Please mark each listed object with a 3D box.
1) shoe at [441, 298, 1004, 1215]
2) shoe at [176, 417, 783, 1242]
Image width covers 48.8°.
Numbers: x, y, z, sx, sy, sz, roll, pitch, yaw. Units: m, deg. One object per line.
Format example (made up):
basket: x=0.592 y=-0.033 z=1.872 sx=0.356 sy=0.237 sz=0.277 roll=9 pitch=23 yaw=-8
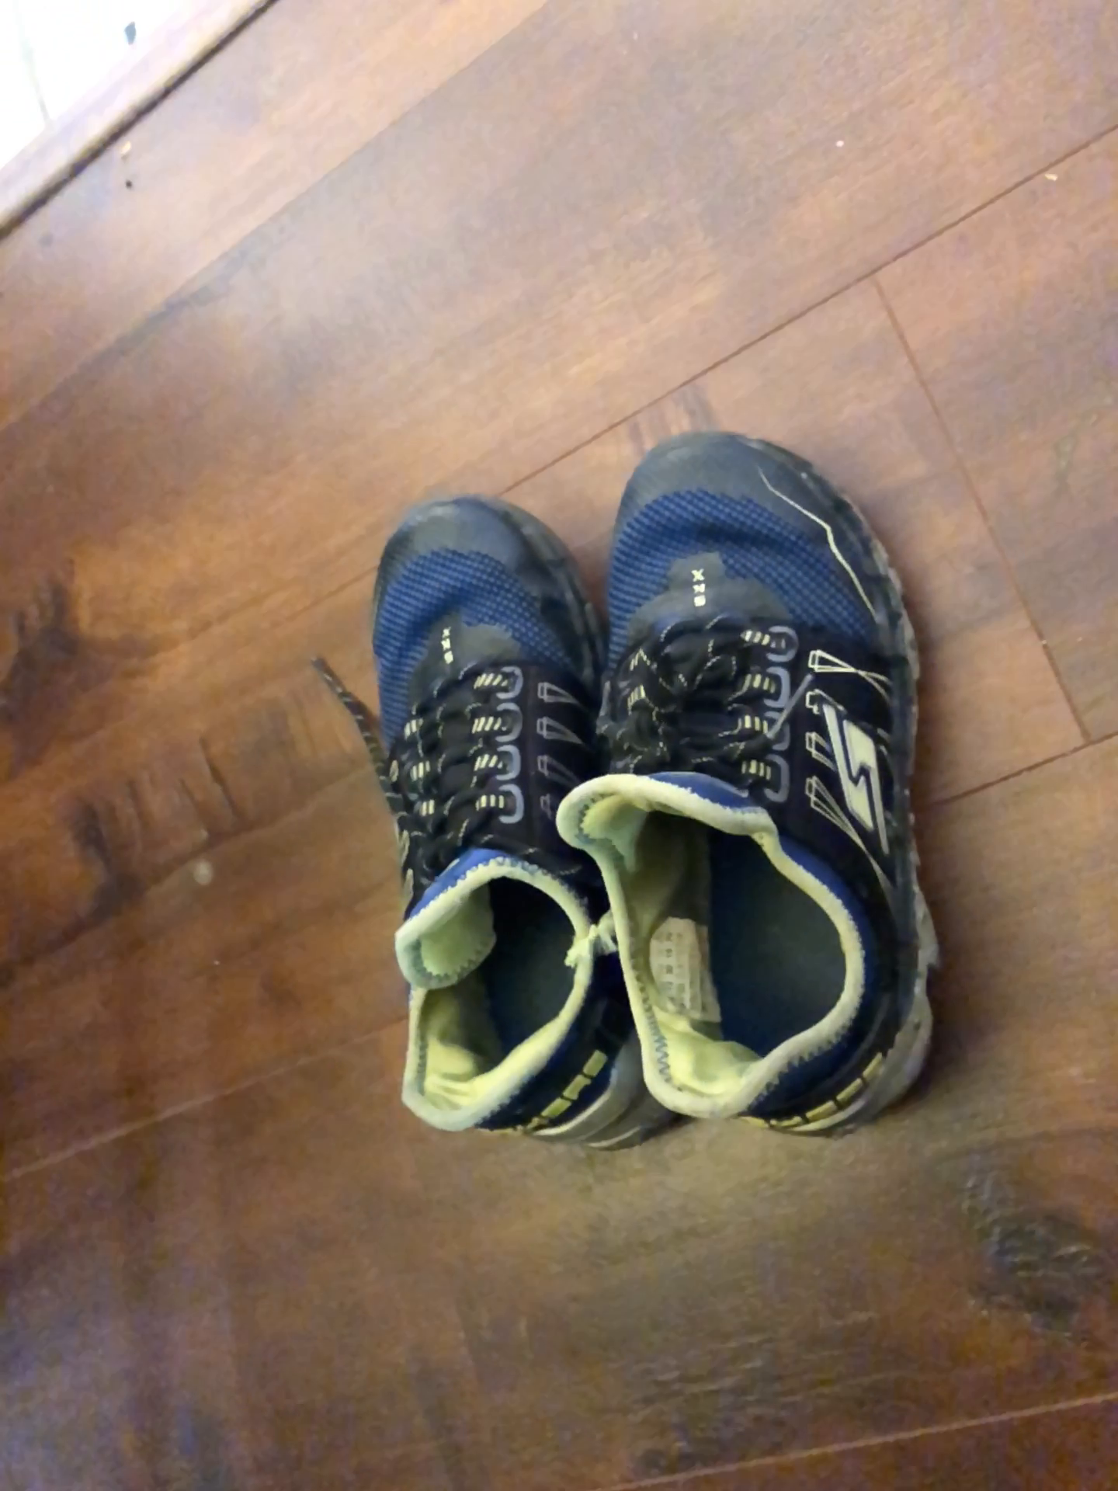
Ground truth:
shoe: x=0.050 y=0.009 z=0.354 sx=0.100 sy=0.120 sz=0.210 roll=-10 pitch=81 yaw=28
shoe: x=-0.024 y=0.027 z=0.397 sx=0.100 sy=0.120 sz=0.210 roll=-21 pitch=75 yaw=26
